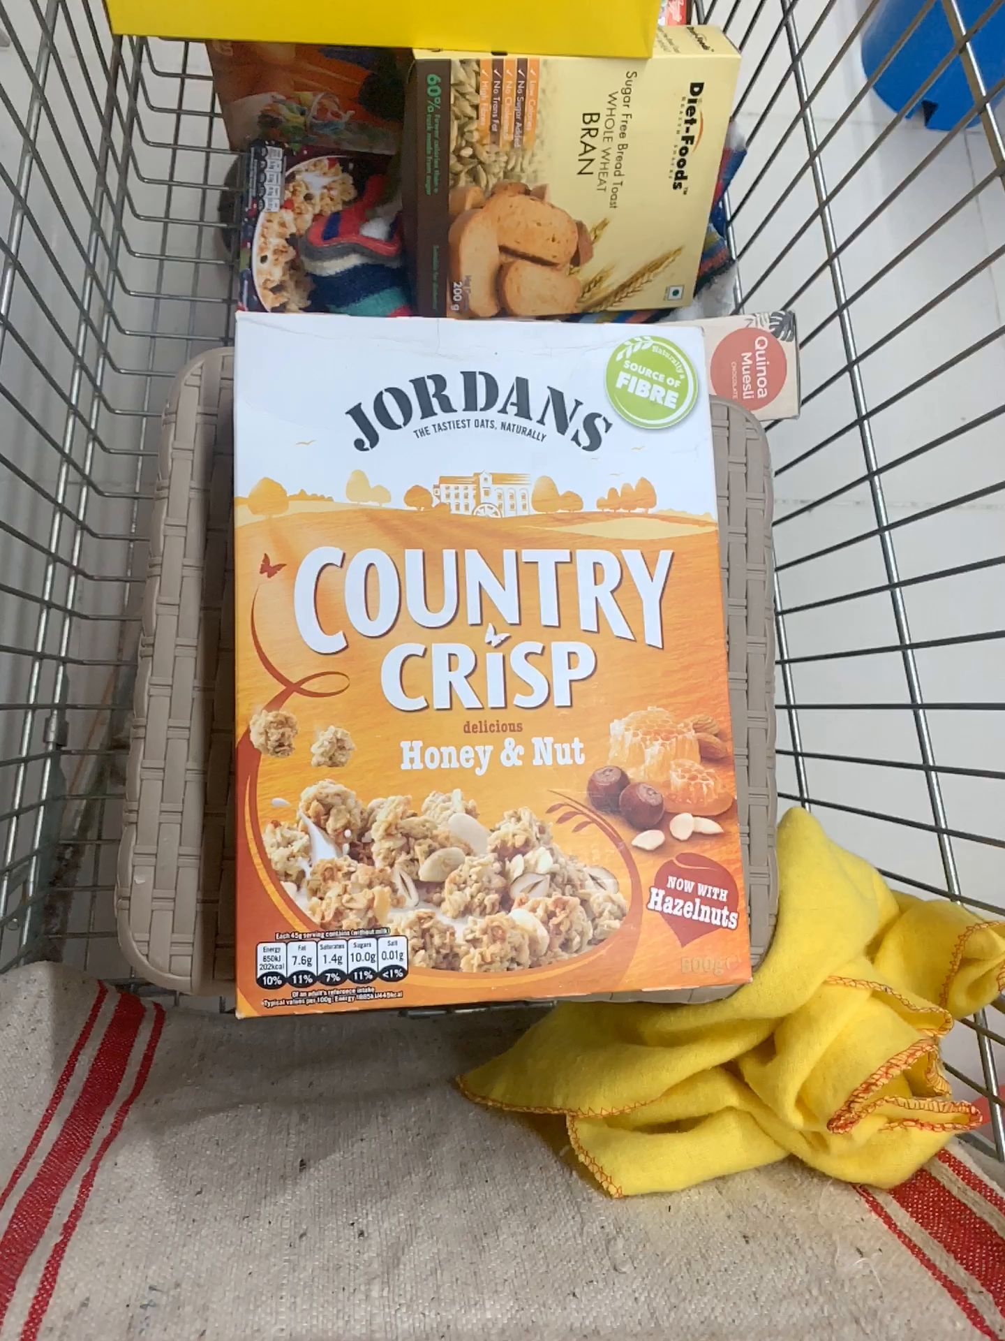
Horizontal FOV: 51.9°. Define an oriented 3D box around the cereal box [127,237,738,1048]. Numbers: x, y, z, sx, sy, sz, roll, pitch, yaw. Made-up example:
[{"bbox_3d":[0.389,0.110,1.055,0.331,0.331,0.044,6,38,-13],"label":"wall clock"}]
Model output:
[{"bbox_3d":[-0.029,-0.011,0.380,0.190,0.080,0.260,-1,80,-10],"label":"cereal box"}]
